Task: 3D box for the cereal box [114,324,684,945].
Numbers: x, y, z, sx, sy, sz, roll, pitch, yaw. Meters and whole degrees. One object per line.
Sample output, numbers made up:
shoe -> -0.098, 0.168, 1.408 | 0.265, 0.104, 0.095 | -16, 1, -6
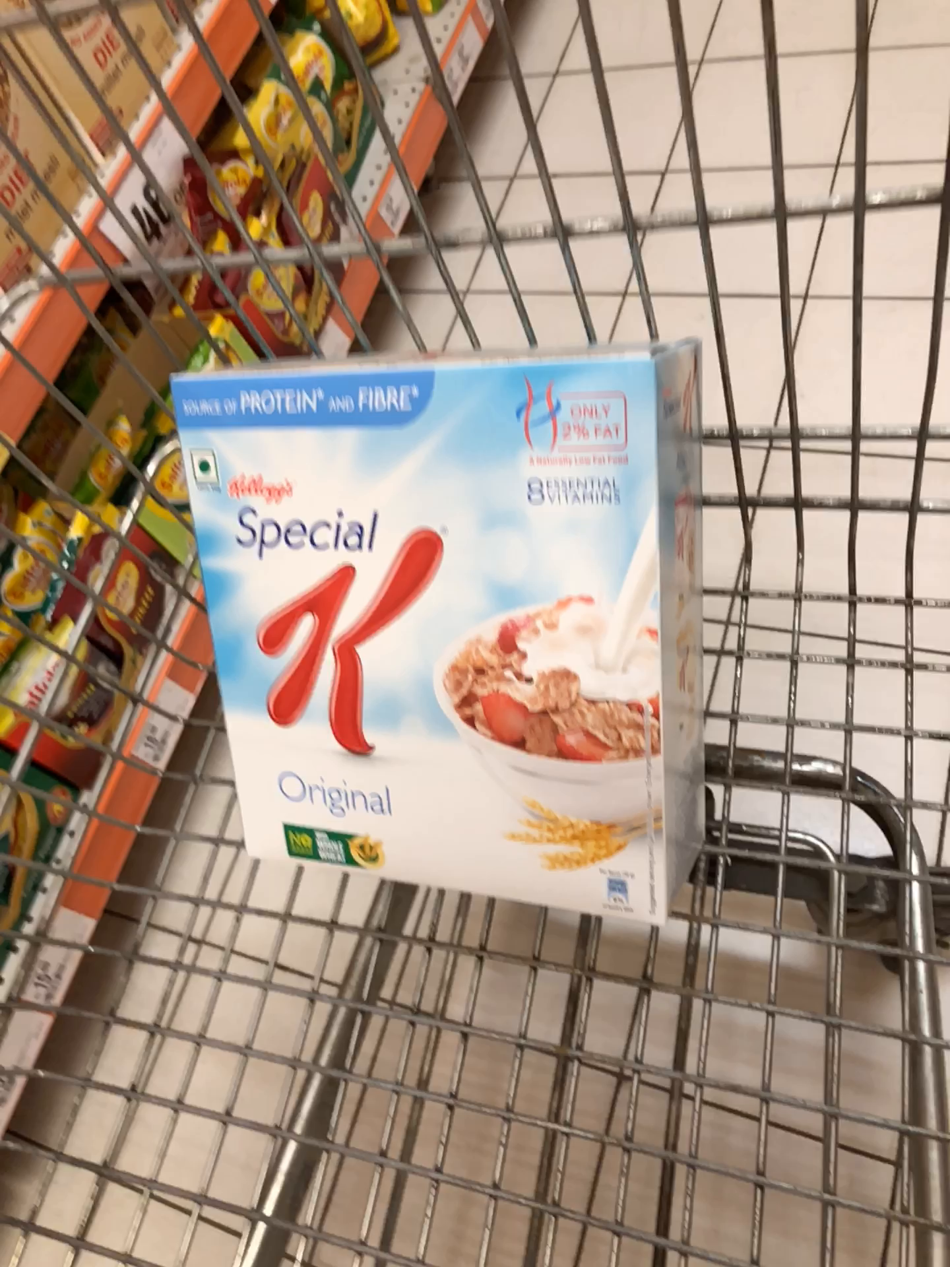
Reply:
cereal box -> -0.022, -0.004, 0.410 | 0.190, 0.209, 0.070 | 3, 21, 22
